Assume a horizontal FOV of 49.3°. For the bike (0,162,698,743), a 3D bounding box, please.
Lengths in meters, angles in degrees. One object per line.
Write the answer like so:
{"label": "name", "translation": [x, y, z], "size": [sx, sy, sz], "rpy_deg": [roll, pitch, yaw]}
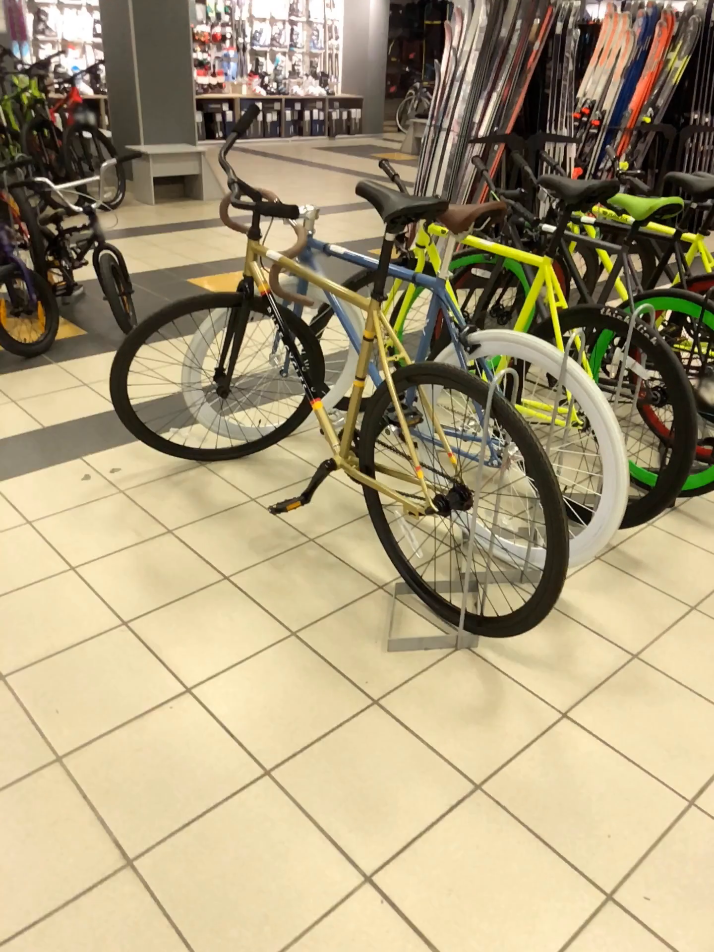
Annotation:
{"label": "bike", "translation": [-0.175, -0.173, 2.004], "size": [1.464, 1.092, 0.674], "rpy_deg": [17, 30, 36]}
